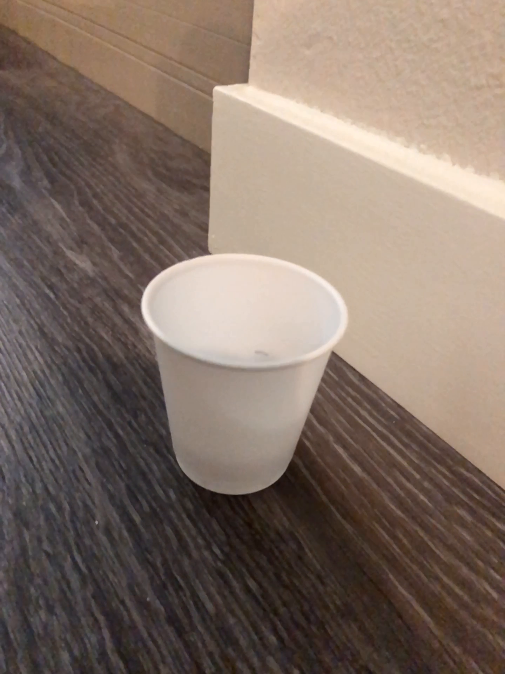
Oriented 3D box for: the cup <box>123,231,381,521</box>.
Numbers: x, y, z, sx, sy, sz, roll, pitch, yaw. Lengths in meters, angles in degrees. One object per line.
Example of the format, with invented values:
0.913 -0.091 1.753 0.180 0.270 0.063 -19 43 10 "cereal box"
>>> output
-0.006 0.009 0.174 0.060 0.060 0.060 4 35 -3 "cup"
